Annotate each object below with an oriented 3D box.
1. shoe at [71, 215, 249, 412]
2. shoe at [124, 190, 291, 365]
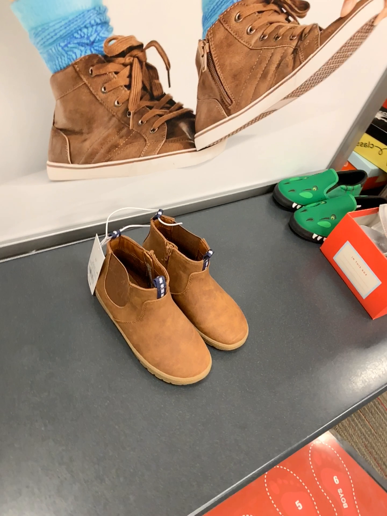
[{"bbox_3d":[-0.048,0.060,0.460,0.190,0.100,0.087,43,53,19],"label":"shoe"},{"bbox_3d":[0.009,0.021,0.512,0.190,0.100,0.087,43,53,19],"label":"shoe"}]
